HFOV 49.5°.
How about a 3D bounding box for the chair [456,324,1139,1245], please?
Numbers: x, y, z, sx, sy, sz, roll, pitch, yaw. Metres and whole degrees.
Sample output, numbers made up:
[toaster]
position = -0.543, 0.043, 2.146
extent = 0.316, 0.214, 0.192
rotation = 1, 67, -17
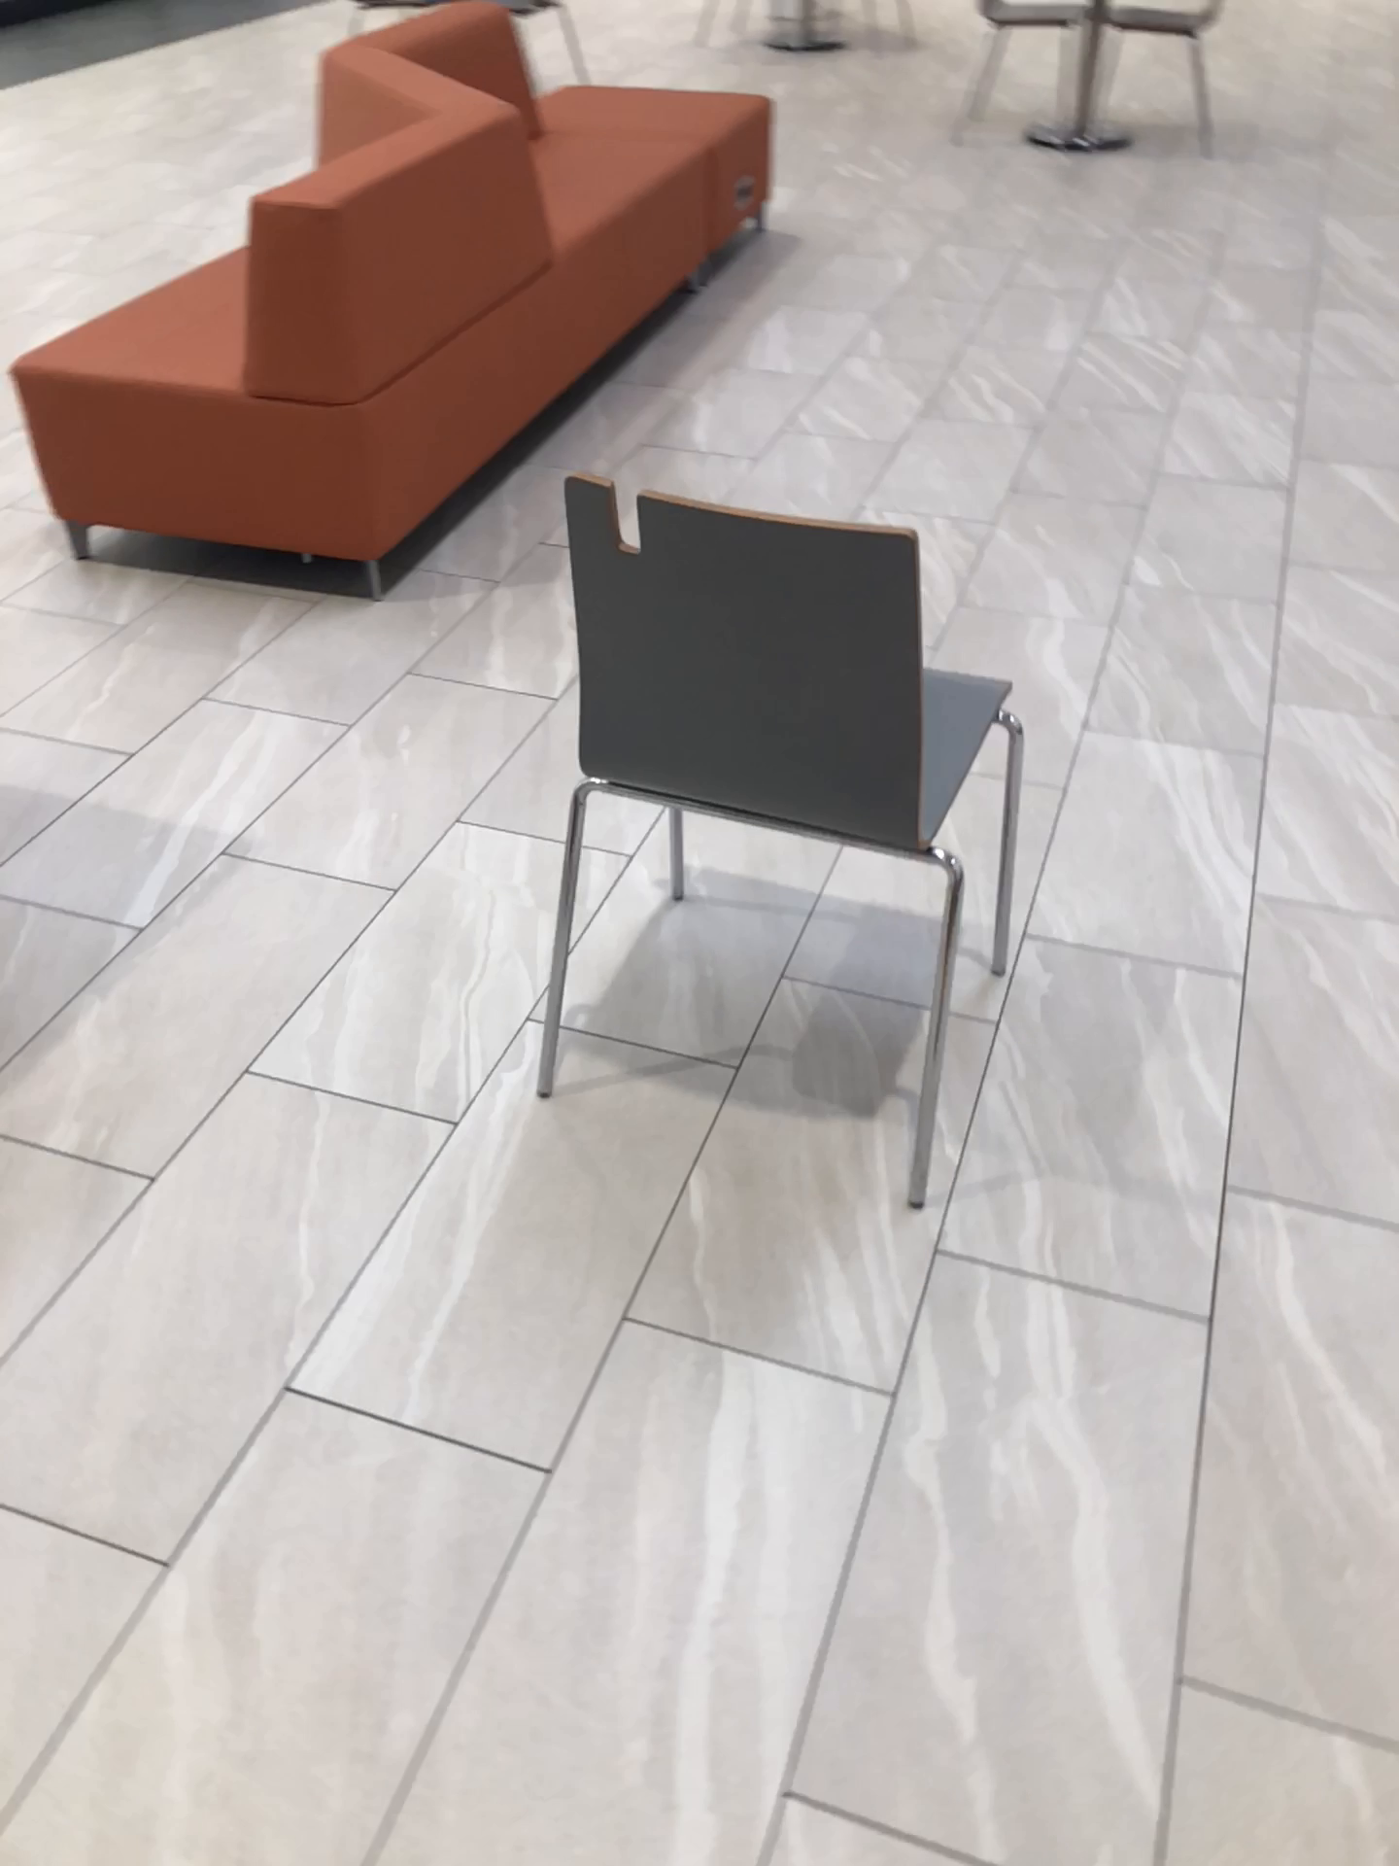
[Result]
[chair]
position = 0.123, -0.173, 1.693
extent = 0.524, 0.787, 0.518
rotation = 12, 39, 16
